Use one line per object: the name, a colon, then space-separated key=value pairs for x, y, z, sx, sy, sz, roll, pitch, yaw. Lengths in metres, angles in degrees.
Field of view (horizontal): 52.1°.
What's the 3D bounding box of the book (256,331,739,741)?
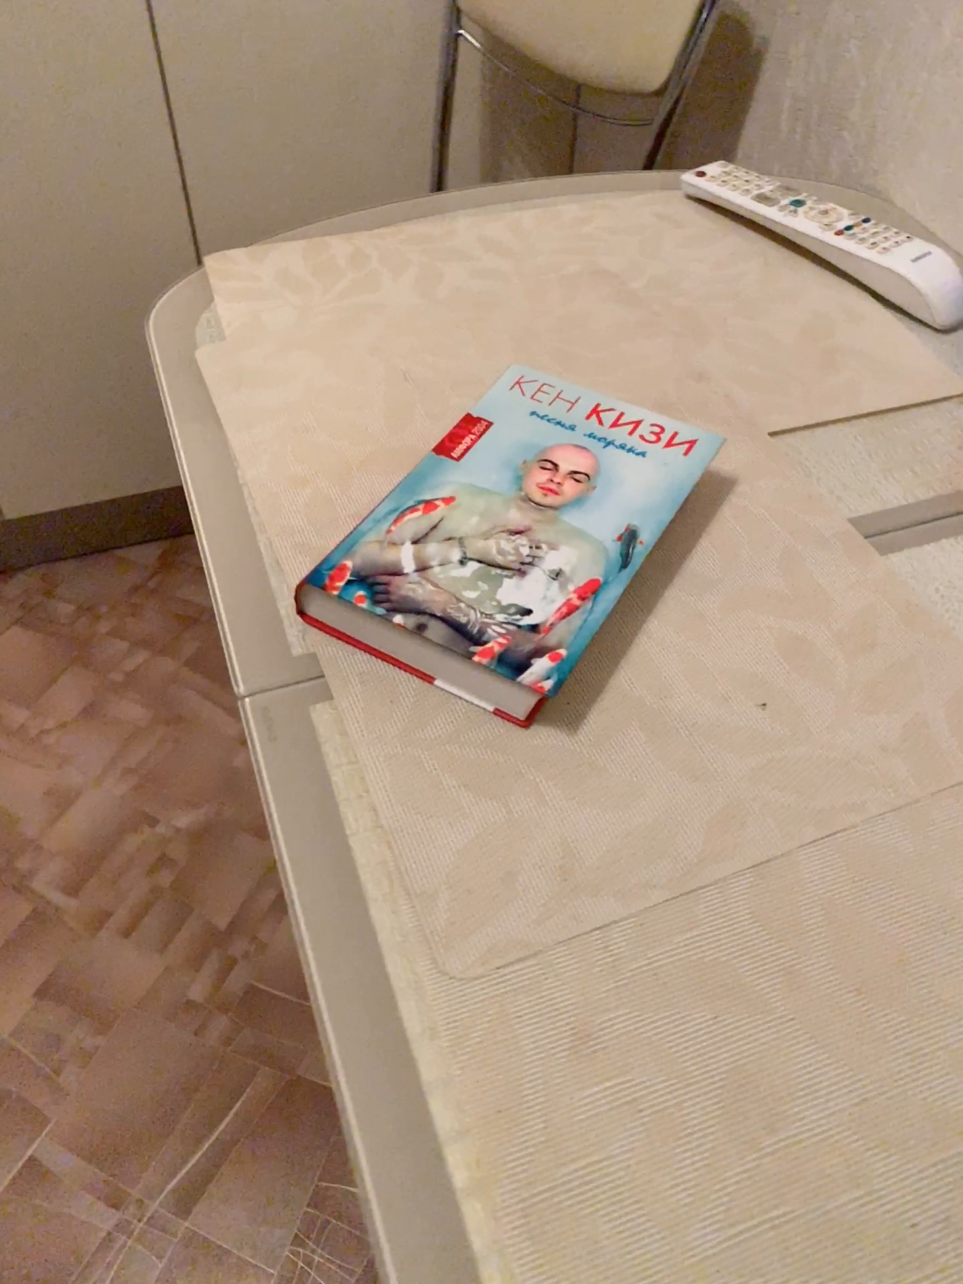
book: x=0.016 y=-0.068 z=0.493 sx=0.150 sy=0.040 sz=0.211 roll=25 pitch=52 yaw=18
